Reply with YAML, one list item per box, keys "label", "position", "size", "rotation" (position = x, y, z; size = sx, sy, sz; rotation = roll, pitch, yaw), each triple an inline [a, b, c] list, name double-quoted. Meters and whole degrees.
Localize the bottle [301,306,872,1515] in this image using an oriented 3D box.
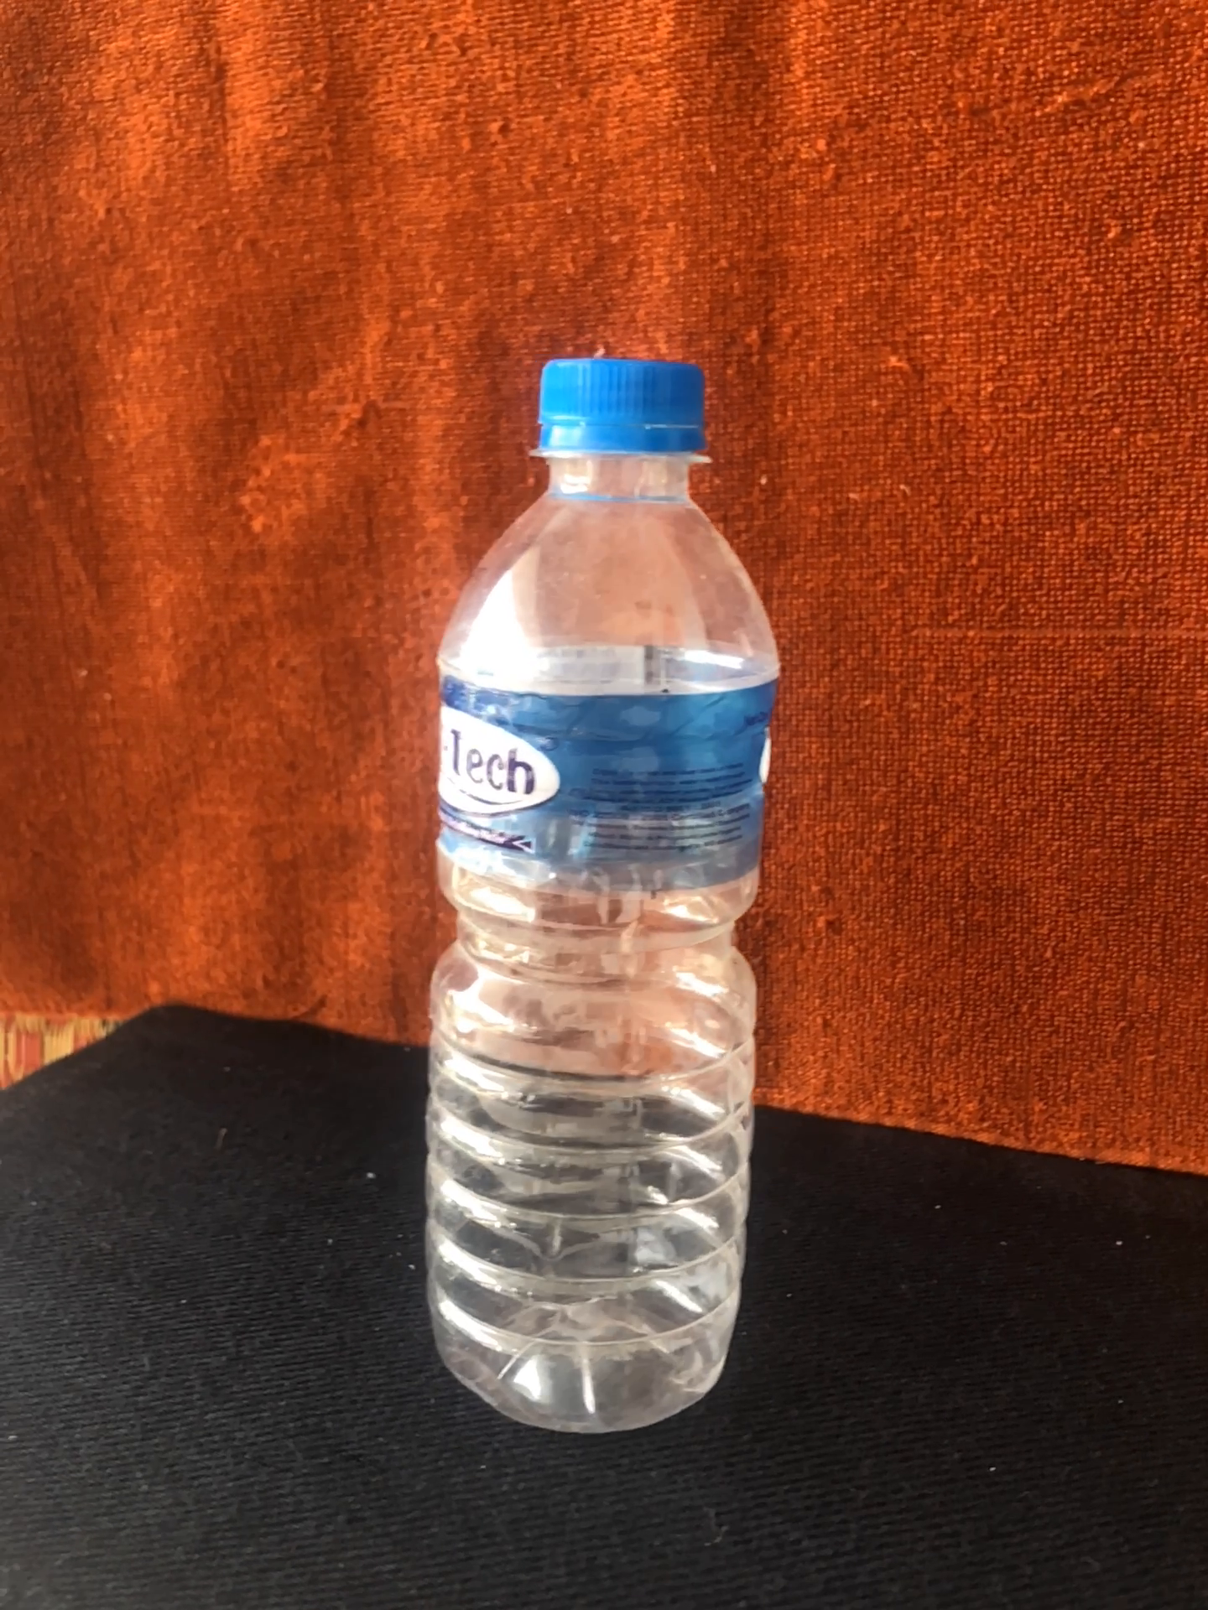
- label: "bottle"
  position: [-0.006, 0.014, 0.248]
  size: [0.070, 0.189, 0.070]
  rotation: [0, 14, 0]
